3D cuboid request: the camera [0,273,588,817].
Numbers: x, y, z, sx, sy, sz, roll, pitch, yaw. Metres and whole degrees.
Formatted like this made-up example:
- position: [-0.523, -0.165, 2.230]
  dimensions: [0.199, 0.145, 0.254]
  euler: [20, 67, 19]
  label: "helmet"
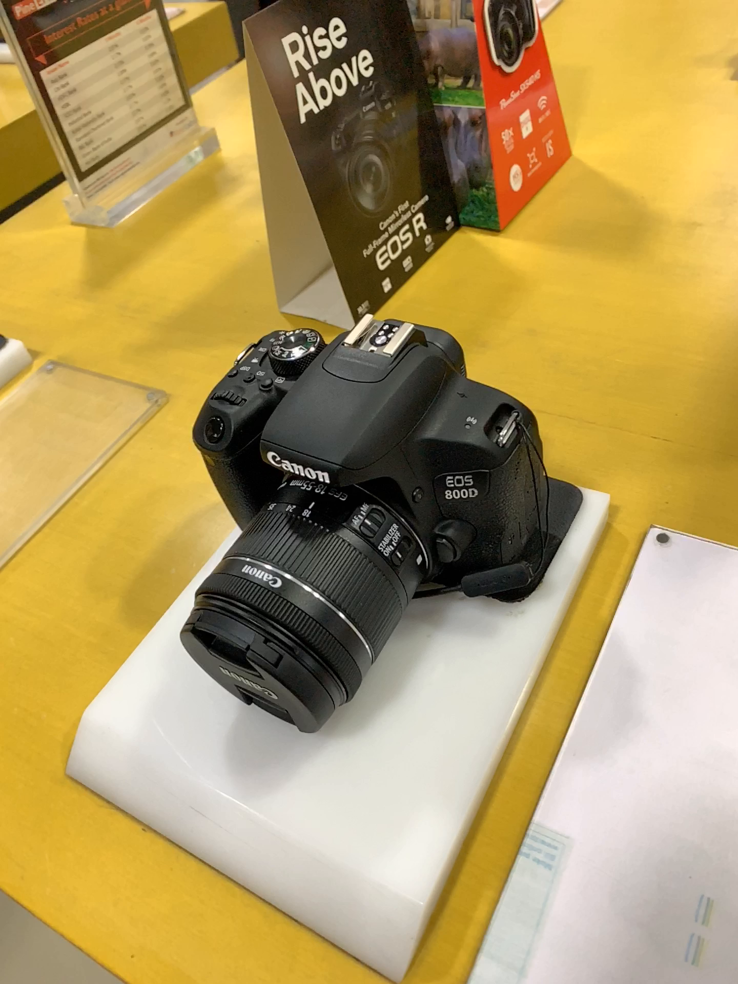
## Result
- position: [-0.015, 0.006, 0.268]
  dimensions: [0.140, 0.090, 0.130]
  euler: [17, 53, 27]
  label: "camera"
